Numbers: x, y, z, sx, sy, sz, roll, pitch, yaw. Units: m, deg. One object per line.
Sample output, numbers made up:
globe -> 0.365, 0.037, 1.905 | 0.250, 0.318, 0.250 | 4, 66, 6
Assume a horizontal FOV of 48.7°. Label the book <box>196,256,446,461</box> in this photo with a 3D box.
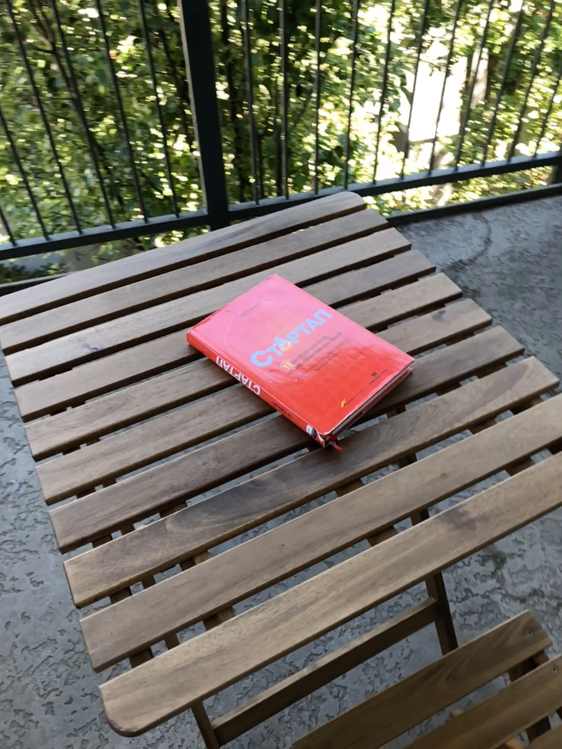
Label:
book -> 0.045, -0.032, 0.762 | 0.240, 0.050, 0.180 | 36, 58, 28
